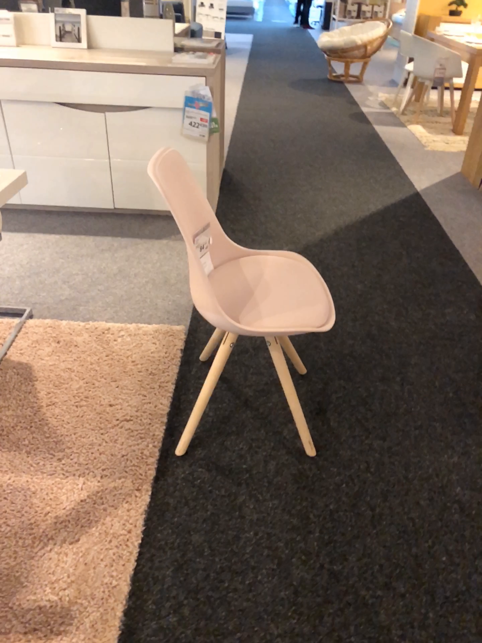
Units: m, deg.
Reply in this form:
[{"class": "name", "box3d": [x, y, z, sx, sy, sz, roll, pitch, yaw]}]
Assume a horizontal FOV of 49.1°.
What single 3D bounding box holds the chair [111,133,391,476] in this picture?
[{"class": "chair", "box3d": [0.010, -0.058, 1.501, 0.560, 0.765, 0.573, 2, 33, -1]}]
